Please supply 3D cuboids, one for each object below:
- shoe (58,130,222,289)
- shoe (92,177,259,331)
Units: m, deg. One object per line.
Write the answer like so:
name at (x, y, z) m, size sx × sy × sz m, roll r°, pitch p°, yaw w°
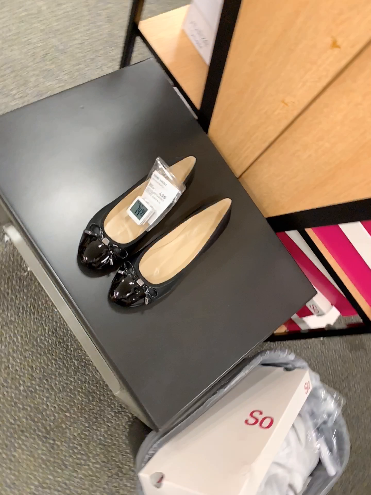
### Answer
shoe at (-0.070, -0.061, 0.599) m, size 0.090 × 0.100 × 0.250 m, roll 46°, pitch 67°, yaw -1°
shoe at (-0.015, 0.009, 0.599) m, size 0.250 × 0.100 × 0.090 m, roll -40°, pitch 90°, yaw -23°
